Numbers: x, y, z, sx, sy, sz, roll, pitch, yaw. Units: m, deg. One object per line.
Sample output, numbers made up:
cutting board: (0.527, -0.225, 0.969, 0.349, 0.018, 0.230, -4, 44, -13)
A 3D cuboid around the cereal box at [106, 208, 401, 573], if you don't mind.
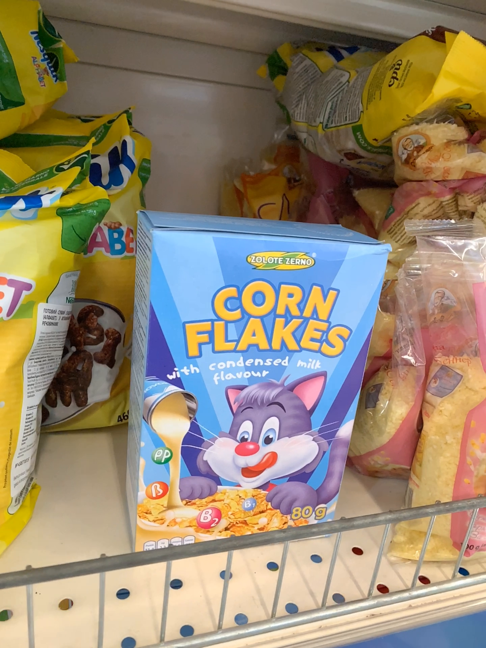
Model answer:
cereal box: (-0.003, 0.030, 0.250, 0.120, 0.159, 0.050, -1, 19, -19)
